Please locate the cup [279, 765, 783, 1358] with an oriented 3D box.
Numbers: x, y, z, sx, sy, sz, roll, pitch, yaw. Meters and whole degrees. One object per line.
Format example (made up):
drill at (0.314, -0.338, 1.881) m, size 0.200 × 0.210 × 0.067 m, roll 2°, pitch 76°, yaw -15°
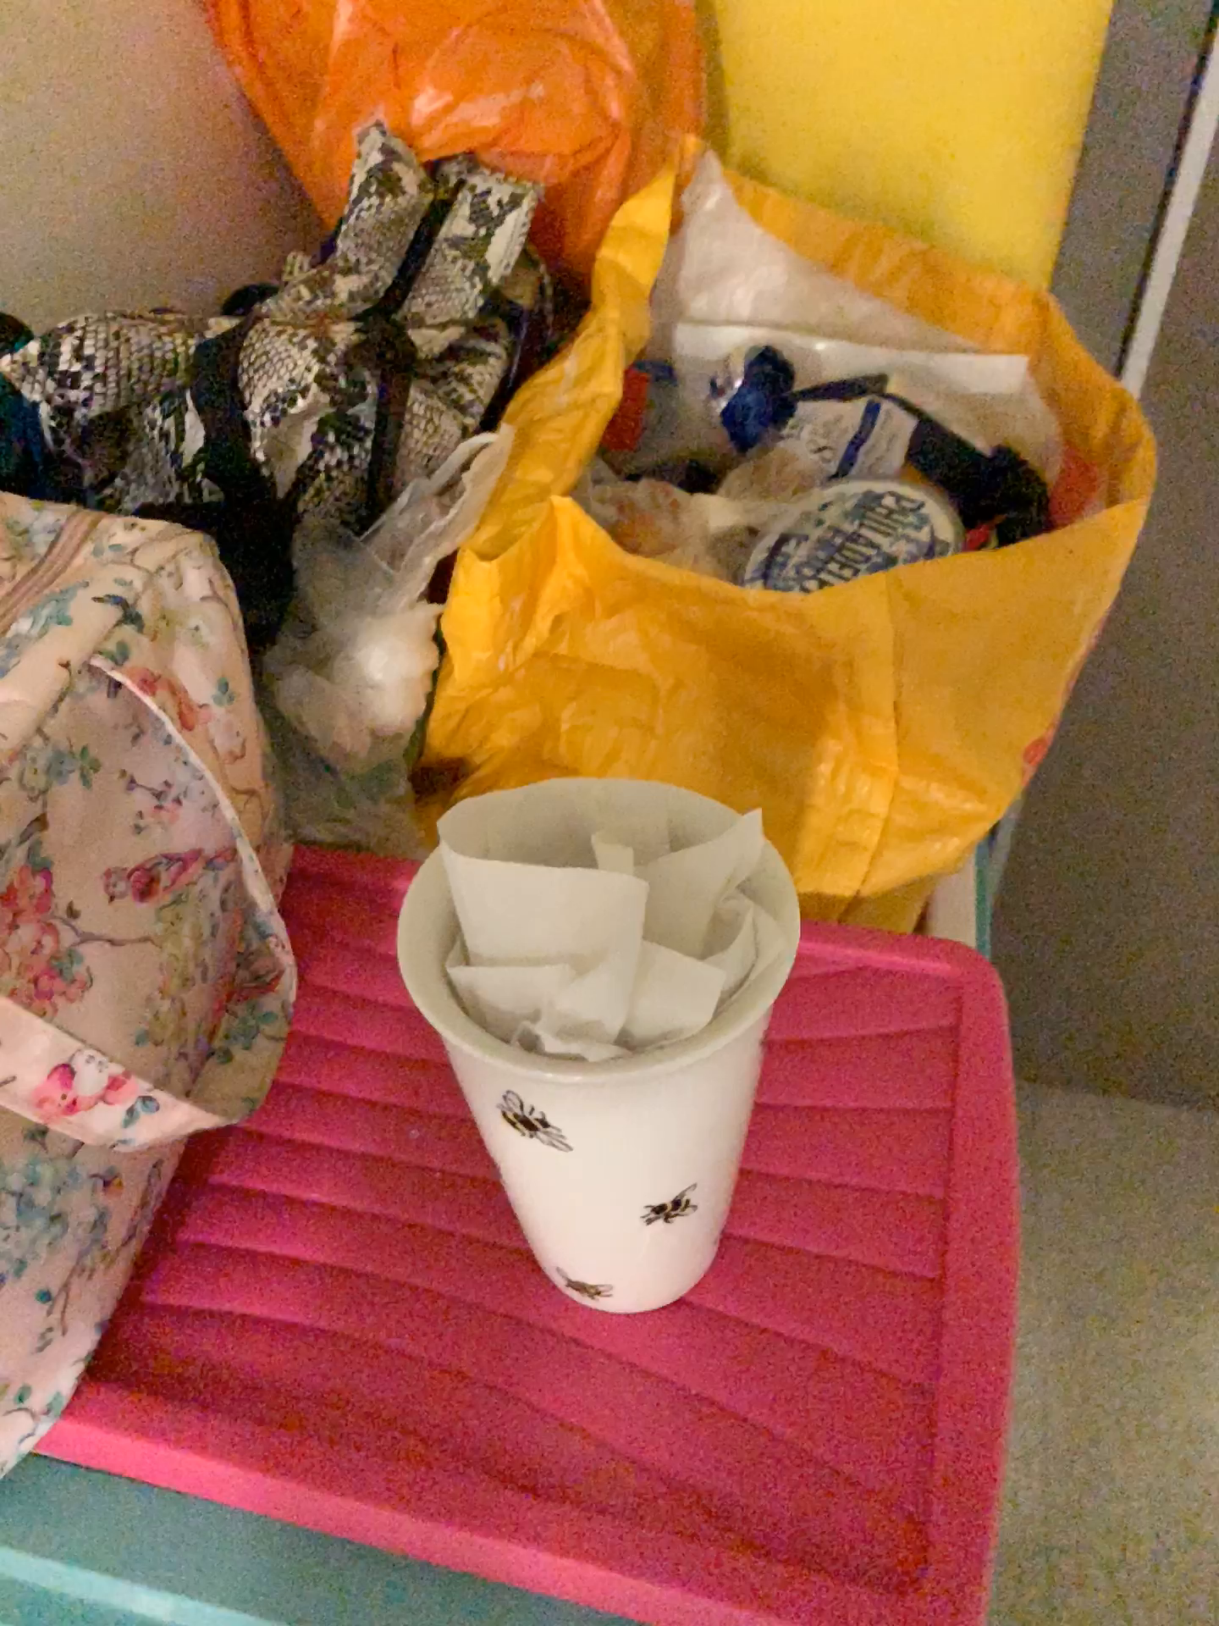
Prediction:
cup at (-0.009, 0.062, 0.320) m, size 0.098 × 0.112 × 0.091 m, roll -2°, pitch 42°, yaw 2°
